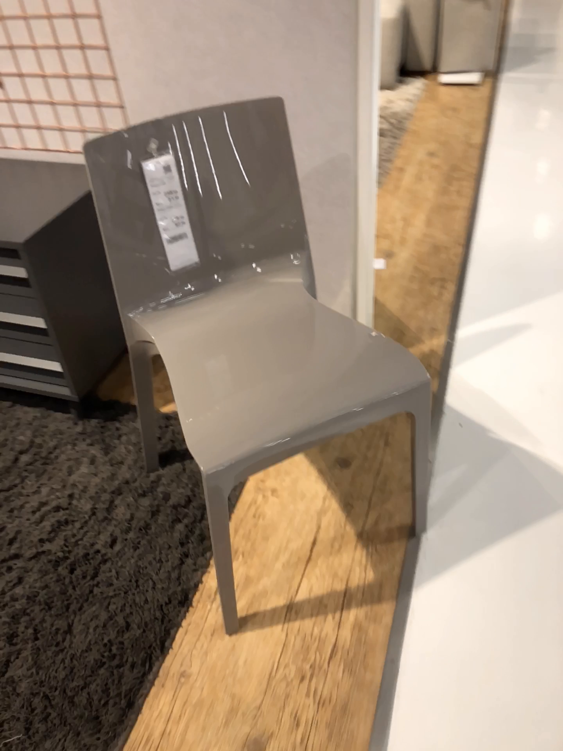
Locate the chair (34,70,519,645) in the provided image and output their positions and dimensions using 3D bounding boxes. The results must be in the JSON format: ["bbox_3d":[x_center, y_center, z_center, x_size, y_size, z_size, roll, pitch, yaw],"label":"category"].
[{"bbox_3d":[-0.029,-0.041,1.140,0.521,0.754,0.564,-19,43,-15],"label":"chair"}]
